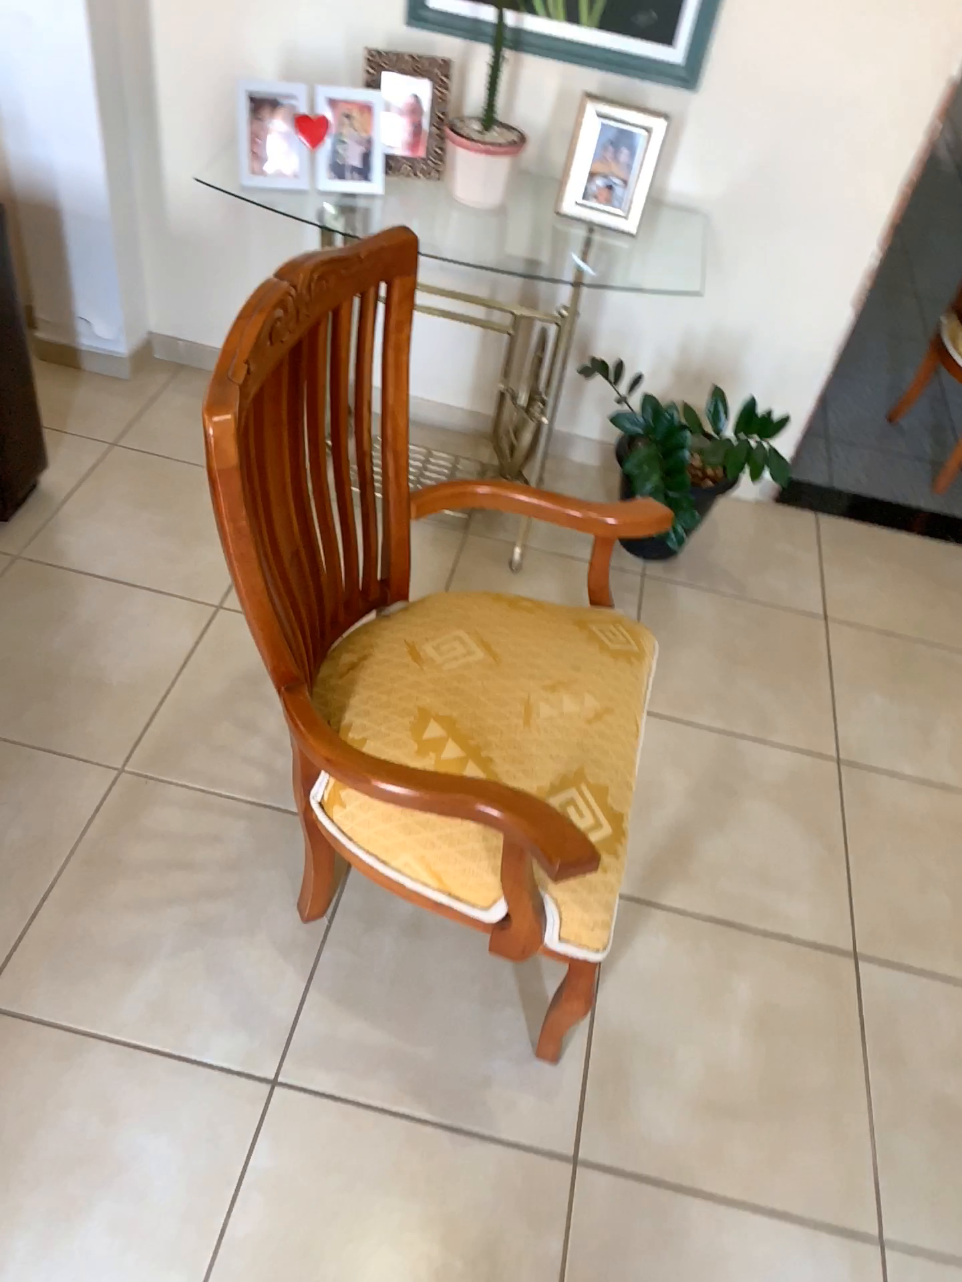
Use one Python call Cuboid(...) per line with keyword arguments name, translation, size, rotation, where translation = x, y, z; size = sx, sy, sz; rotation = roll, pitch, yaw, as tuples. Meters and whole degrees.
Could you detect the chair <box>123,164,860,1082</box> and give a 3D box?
Cuboid(name="chair", translation=(-0.007, 0.025, 1.380), size=(0.630, 1.014, 0.623), rotation=(15, 44, 3))
